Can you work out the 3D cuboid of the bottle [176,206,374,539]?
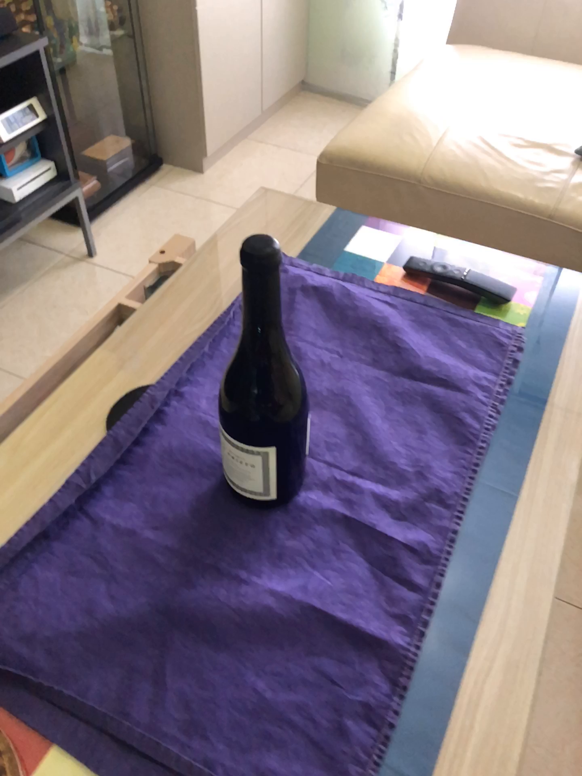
[{"bbox_3d":[-0.017,-0.003,0.559,0.100,0.259,0.110,-23,51,-23],"label":"bottle"}]
